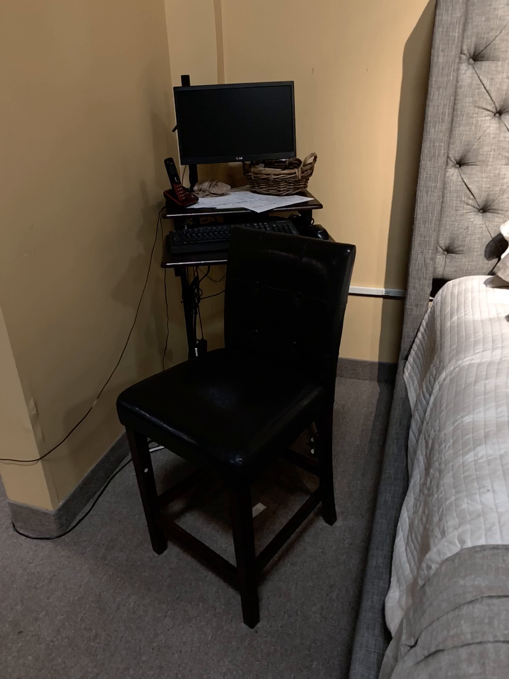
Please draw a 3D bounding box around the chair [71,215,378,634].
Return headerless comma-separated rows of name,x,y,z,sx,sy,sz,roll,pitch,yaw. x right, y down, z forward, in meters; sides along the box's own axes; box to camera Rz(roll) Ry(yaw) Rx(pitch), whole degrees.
chair,-0.058,0.186,1.481,0.559,0.912,0.518,19,33,37
